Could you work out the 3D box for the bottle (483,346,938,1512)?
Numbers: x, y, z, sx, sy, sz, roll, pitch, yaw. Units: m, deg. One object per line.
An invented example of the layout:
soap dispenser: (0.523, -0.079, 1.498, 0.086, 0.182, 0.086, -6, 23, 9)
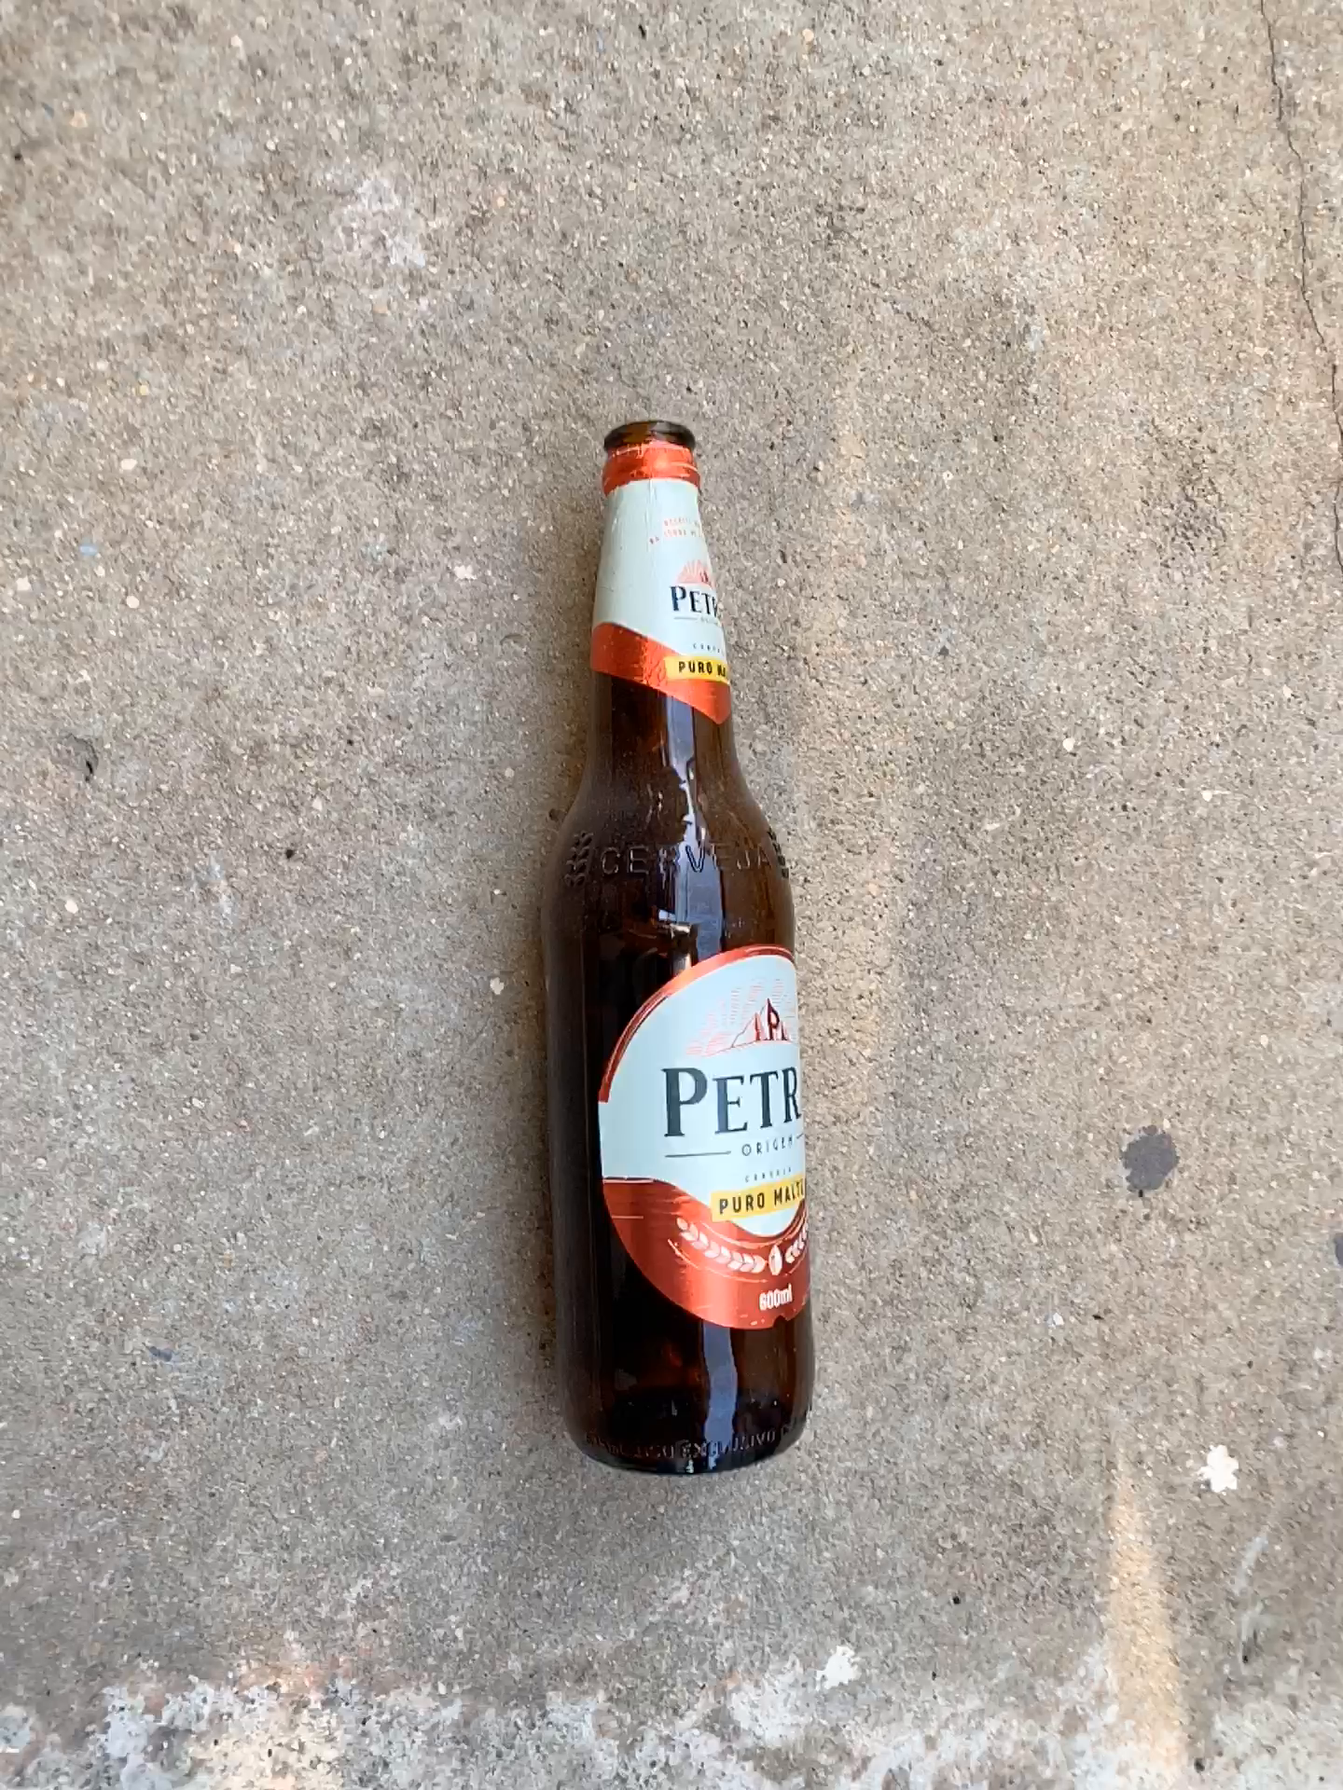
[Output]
bottle: (0.009, 0.007, 0.371, 0.080, 0.070, 0.270, 3, 82, -48)
